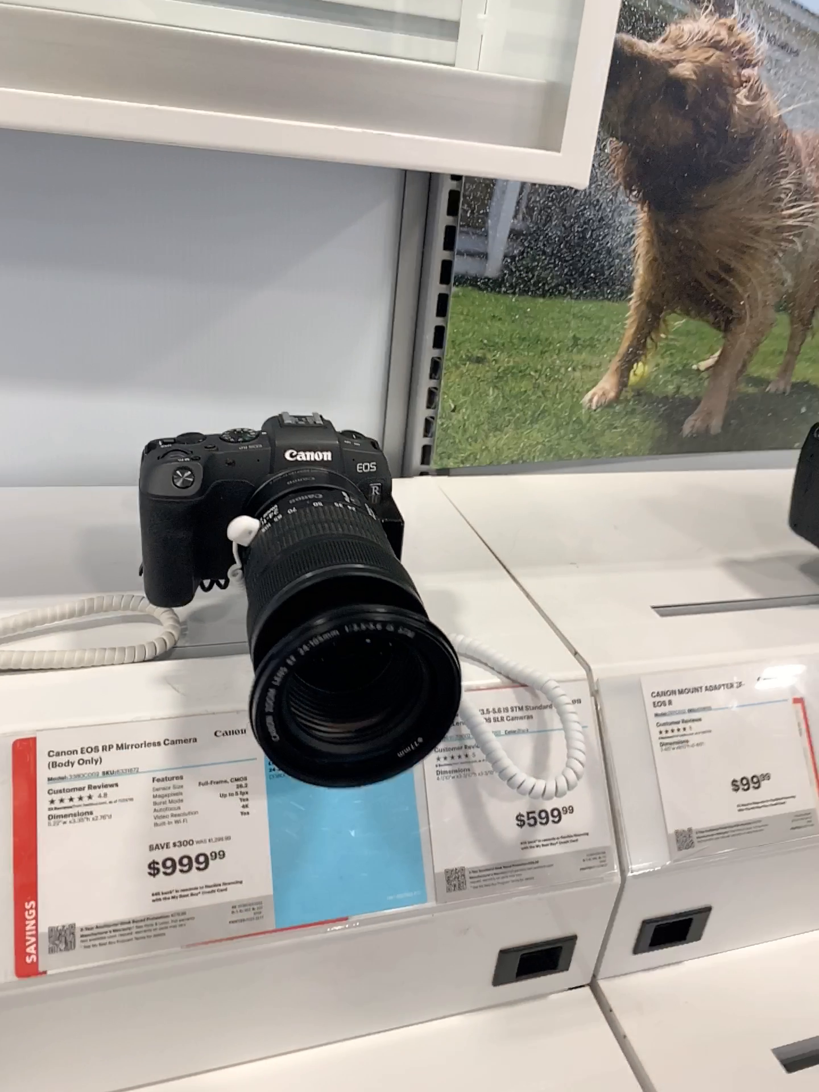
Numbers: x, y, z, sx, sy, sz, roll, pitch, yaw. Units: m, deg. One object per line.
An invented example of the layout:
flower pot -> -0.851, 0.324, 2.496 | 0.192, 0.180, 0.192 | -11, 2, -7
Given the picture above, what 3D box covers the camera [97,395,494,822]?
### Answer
camera -> -0.062, 0.009, 0.388 | 0.132, 0.099, 0.200 | -2, 27, -14
